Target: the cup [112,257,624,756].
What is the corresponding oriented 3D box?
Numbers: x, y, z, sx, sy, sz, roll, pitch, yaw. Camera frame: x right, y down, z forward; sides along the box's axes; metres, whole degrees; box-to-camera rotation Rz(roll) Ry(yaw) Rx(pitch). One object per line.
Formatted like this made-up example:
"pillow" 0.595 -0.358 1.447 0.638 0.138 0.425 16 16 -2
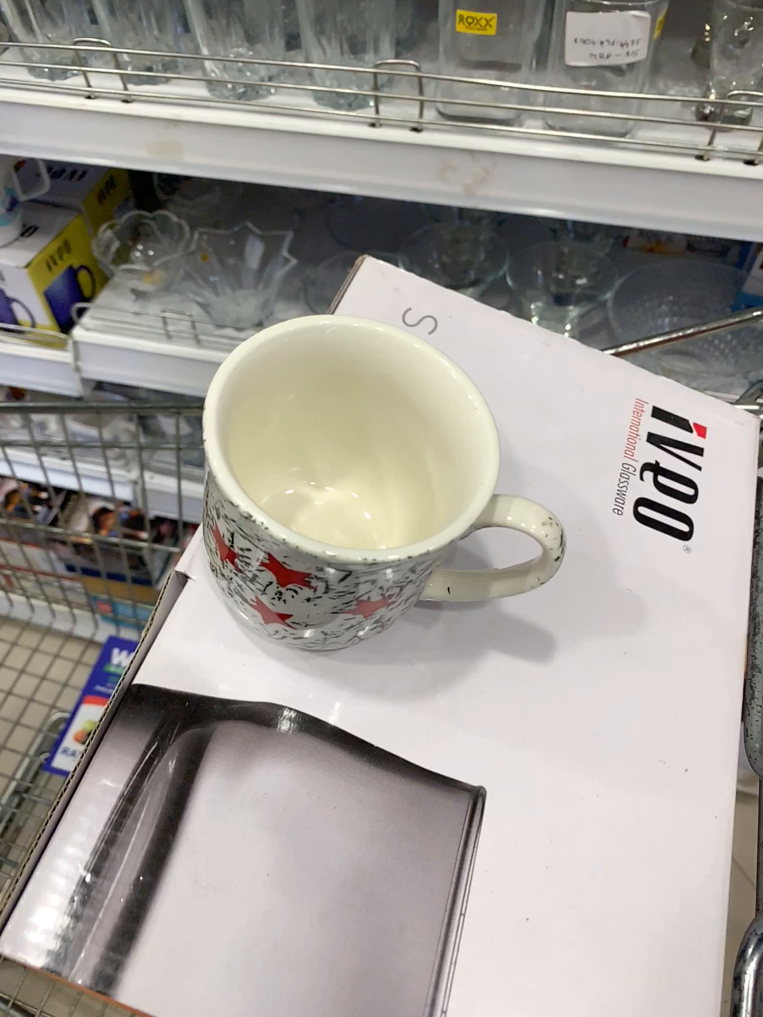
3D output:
"cup" -0.005 0.004 0.206 0.100 0.070 0.070 26 57 -5
